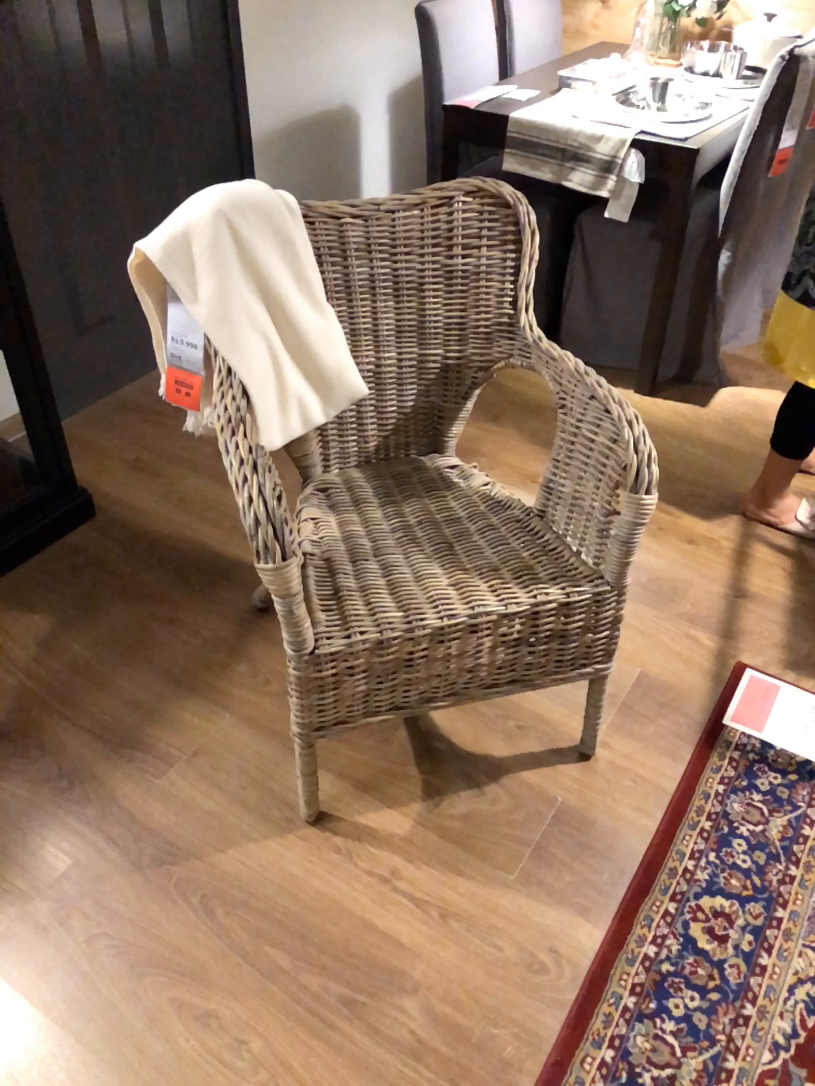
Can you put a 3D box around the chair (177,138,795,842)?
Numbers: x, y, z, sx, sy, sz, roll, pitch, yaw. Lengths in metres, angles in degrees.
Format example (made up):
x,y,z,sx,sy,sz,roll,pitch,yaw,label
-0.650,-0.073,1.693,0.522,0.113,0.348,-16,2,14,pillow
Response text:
x,y,z,sx,sy,sz,roll,pitch,yaw,label
0.041,-0.108,1.417,0.620,0.814,0.634,-10,40,-14,chair
